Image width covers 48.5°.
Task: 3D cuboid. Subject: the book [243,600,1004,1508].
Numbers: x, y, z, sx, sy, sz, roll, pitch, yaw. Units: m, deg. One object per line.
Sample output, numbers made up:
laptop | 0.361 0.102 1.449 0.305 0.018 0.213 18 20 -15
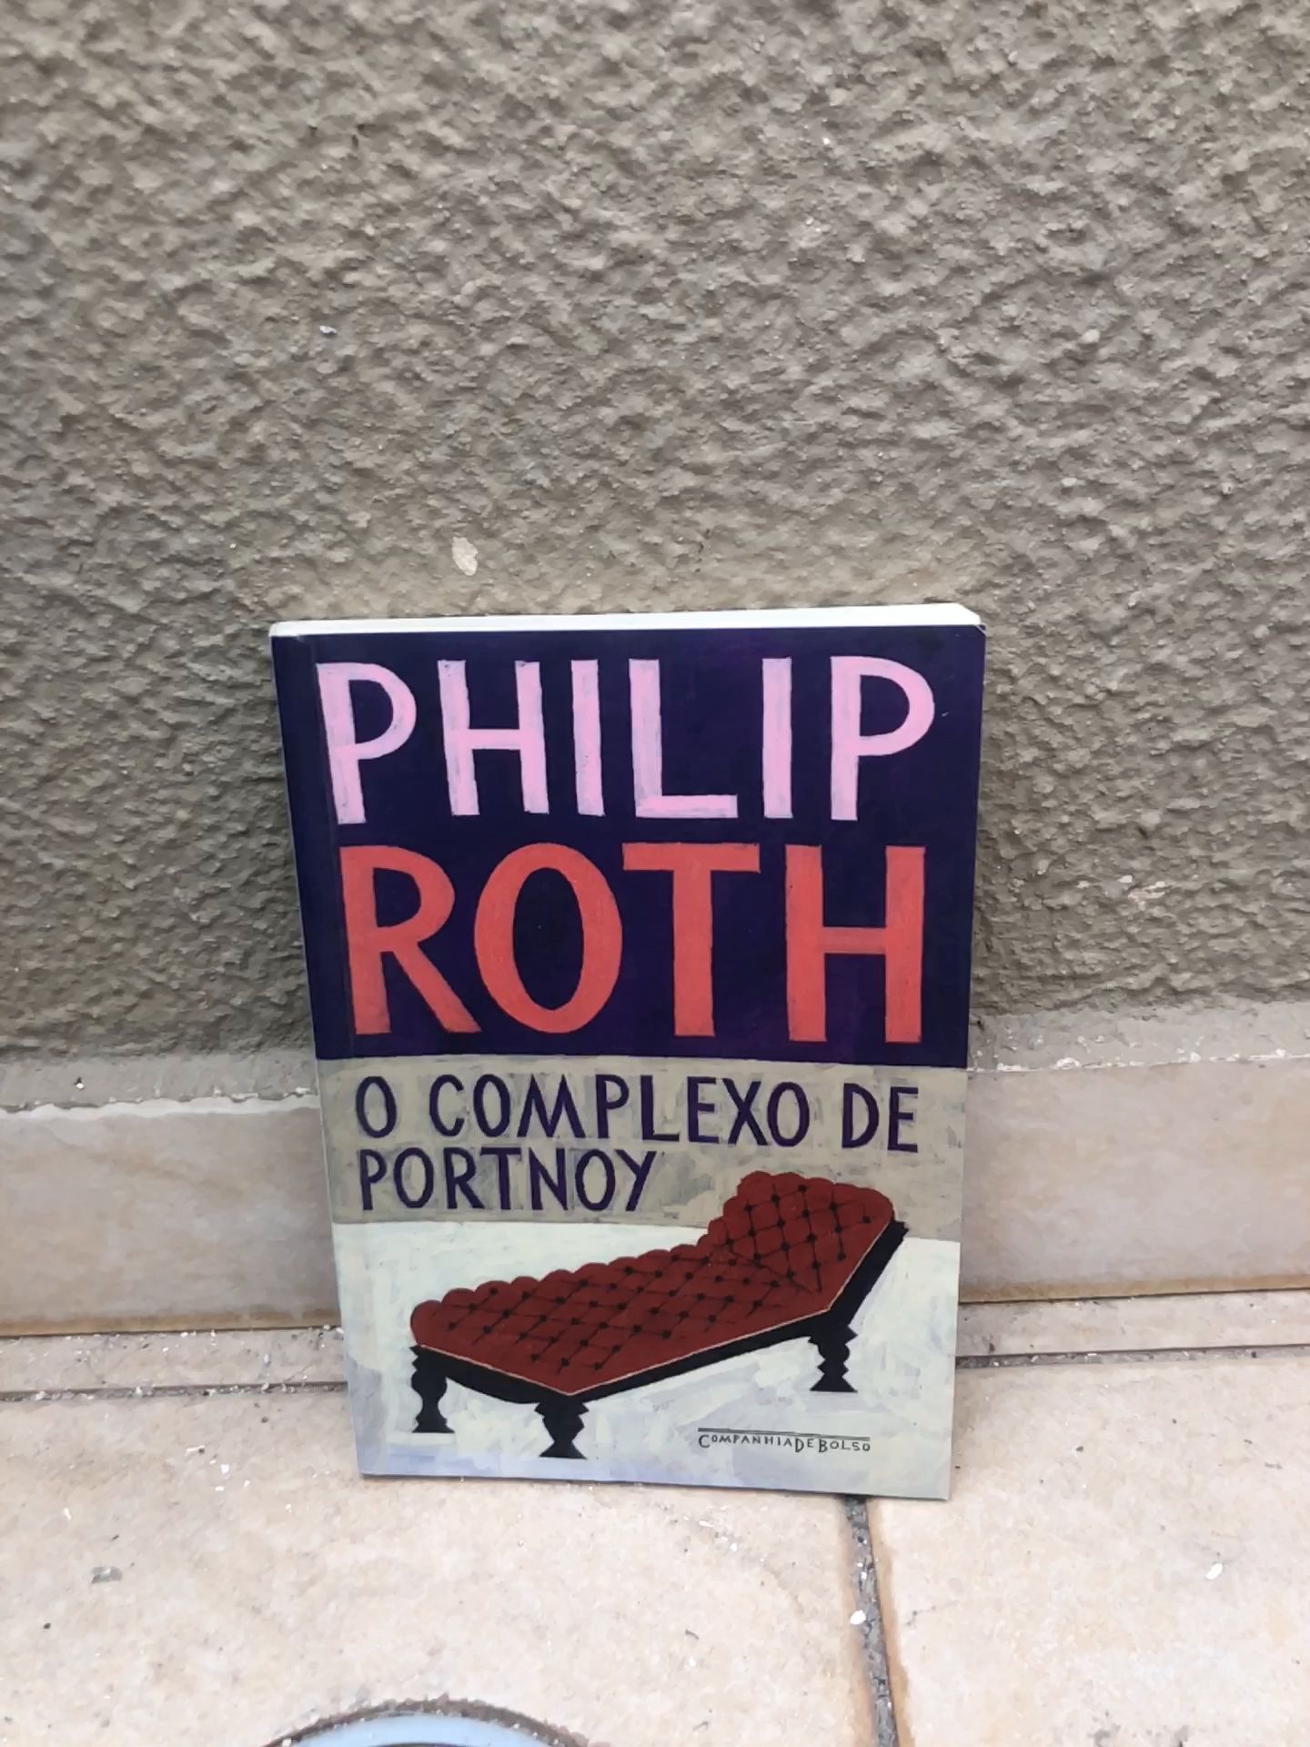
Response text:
book | -0.003 0.040 0.280 0.126 0.179 0.023 0 20 5
